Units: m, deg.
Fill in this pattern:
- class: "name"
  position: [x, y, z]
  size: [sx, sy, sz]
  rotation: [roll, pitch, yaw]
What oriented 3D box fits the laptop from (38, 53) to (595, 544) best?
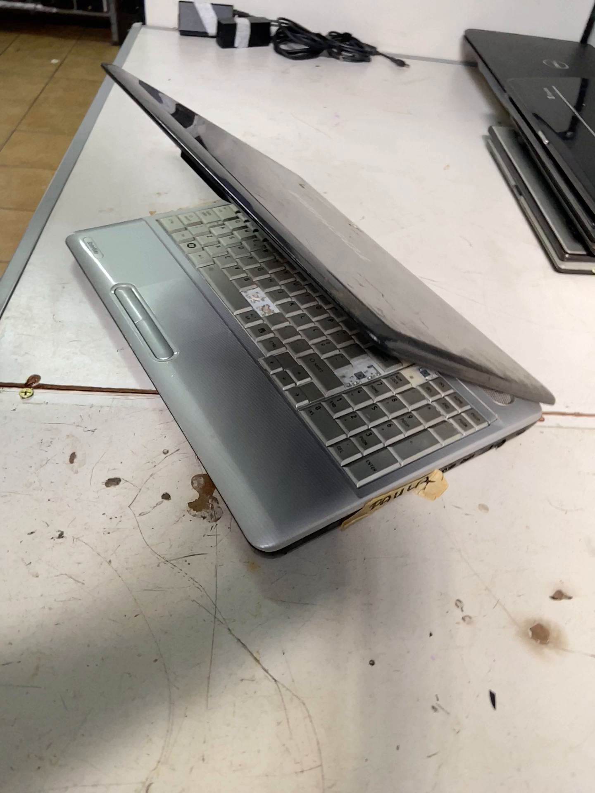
- class: "laptop"
  position: [-0.005, -0.120, 0.485]
  size: [0.256, 0.143, 0.372]
  rotation: [-21, 53, -25]
